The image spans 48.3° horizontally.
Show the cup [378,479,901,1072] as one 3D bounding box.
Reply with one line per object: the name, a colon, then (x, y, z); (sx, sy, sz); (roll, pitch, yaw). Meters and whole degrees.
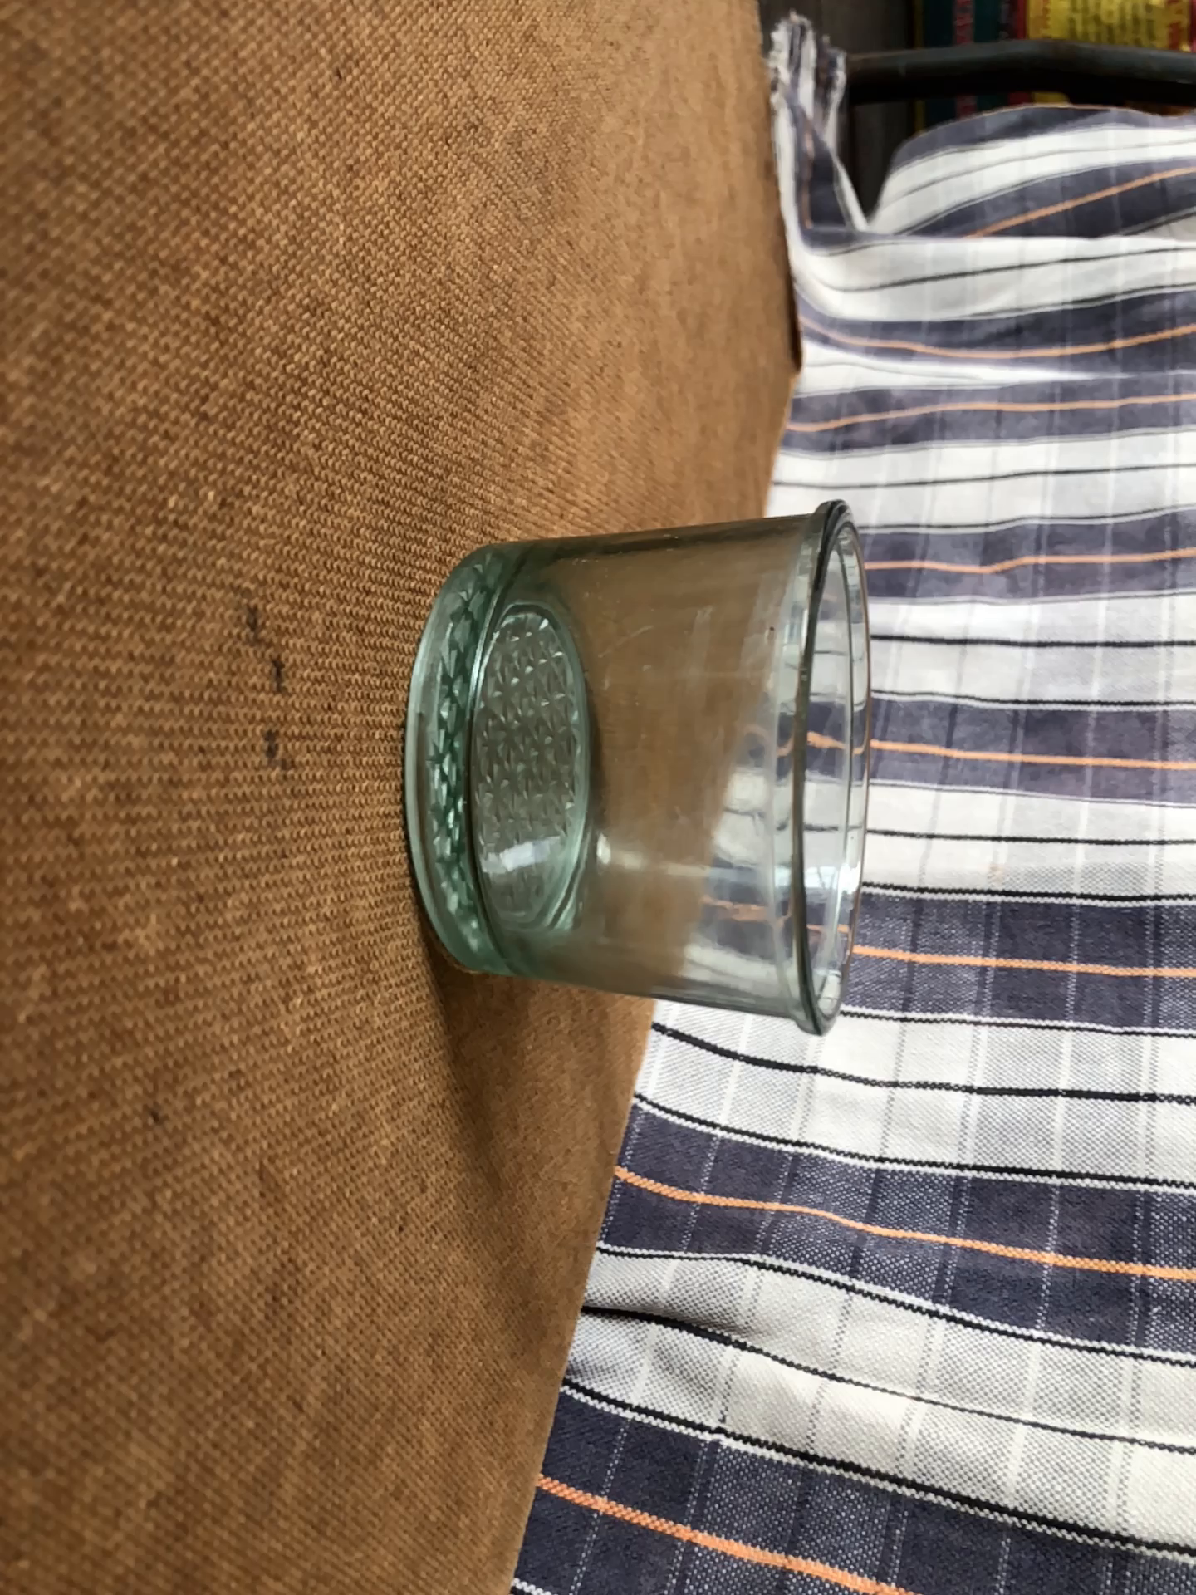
cup: (0.014, -0.010, 0.212); (0.080, 0.060, 0.070); (-48, 137, -65)
